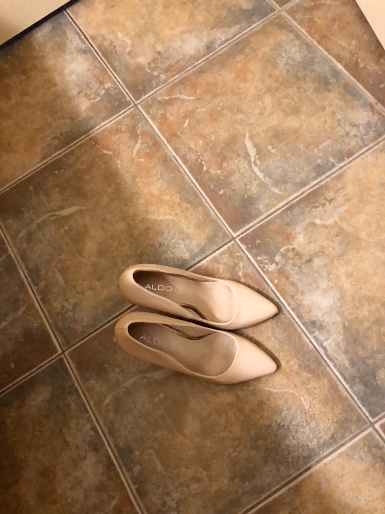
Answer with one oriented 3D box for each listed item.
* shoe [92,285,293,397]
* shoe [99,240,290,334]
[{"bbox_3d":[0.008,0.119,0.576,0.230,0.150,0.080,11,74,13],"label":"shoe"},{"bbox_3d":[0.011,0.045,0.585,0.230,0.130,0.080,4,73,11],"label":"shoe"}]
